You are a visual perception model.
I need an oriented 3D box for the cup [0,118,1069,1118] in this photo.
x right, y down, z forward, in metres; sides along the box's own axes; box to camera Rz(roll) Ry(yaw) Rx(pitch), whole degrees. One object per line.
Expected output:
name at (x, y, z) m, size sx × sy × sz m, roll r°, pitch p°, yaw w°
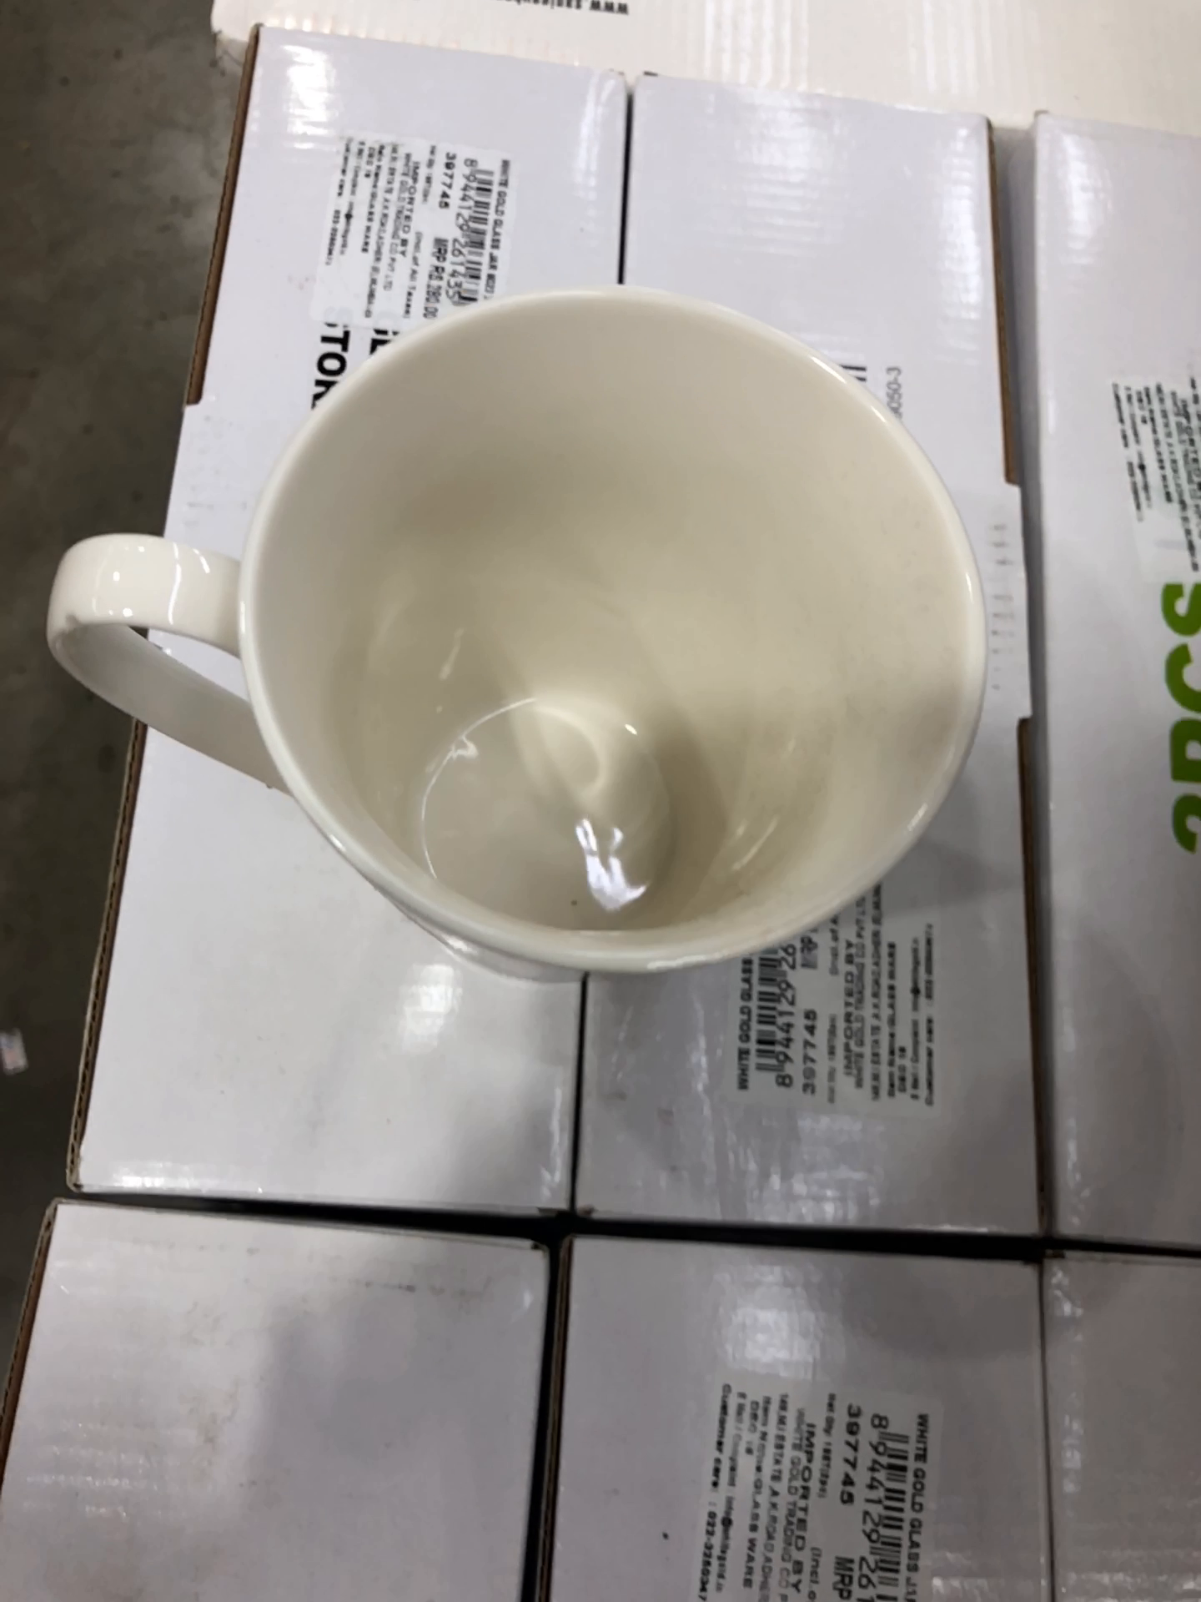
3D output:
cup at (-0.017, -0.015, 0.204) m, size 0.130 × 0.100 × 0.090 m, roll 12°, pitch 72°, yaw -1°
